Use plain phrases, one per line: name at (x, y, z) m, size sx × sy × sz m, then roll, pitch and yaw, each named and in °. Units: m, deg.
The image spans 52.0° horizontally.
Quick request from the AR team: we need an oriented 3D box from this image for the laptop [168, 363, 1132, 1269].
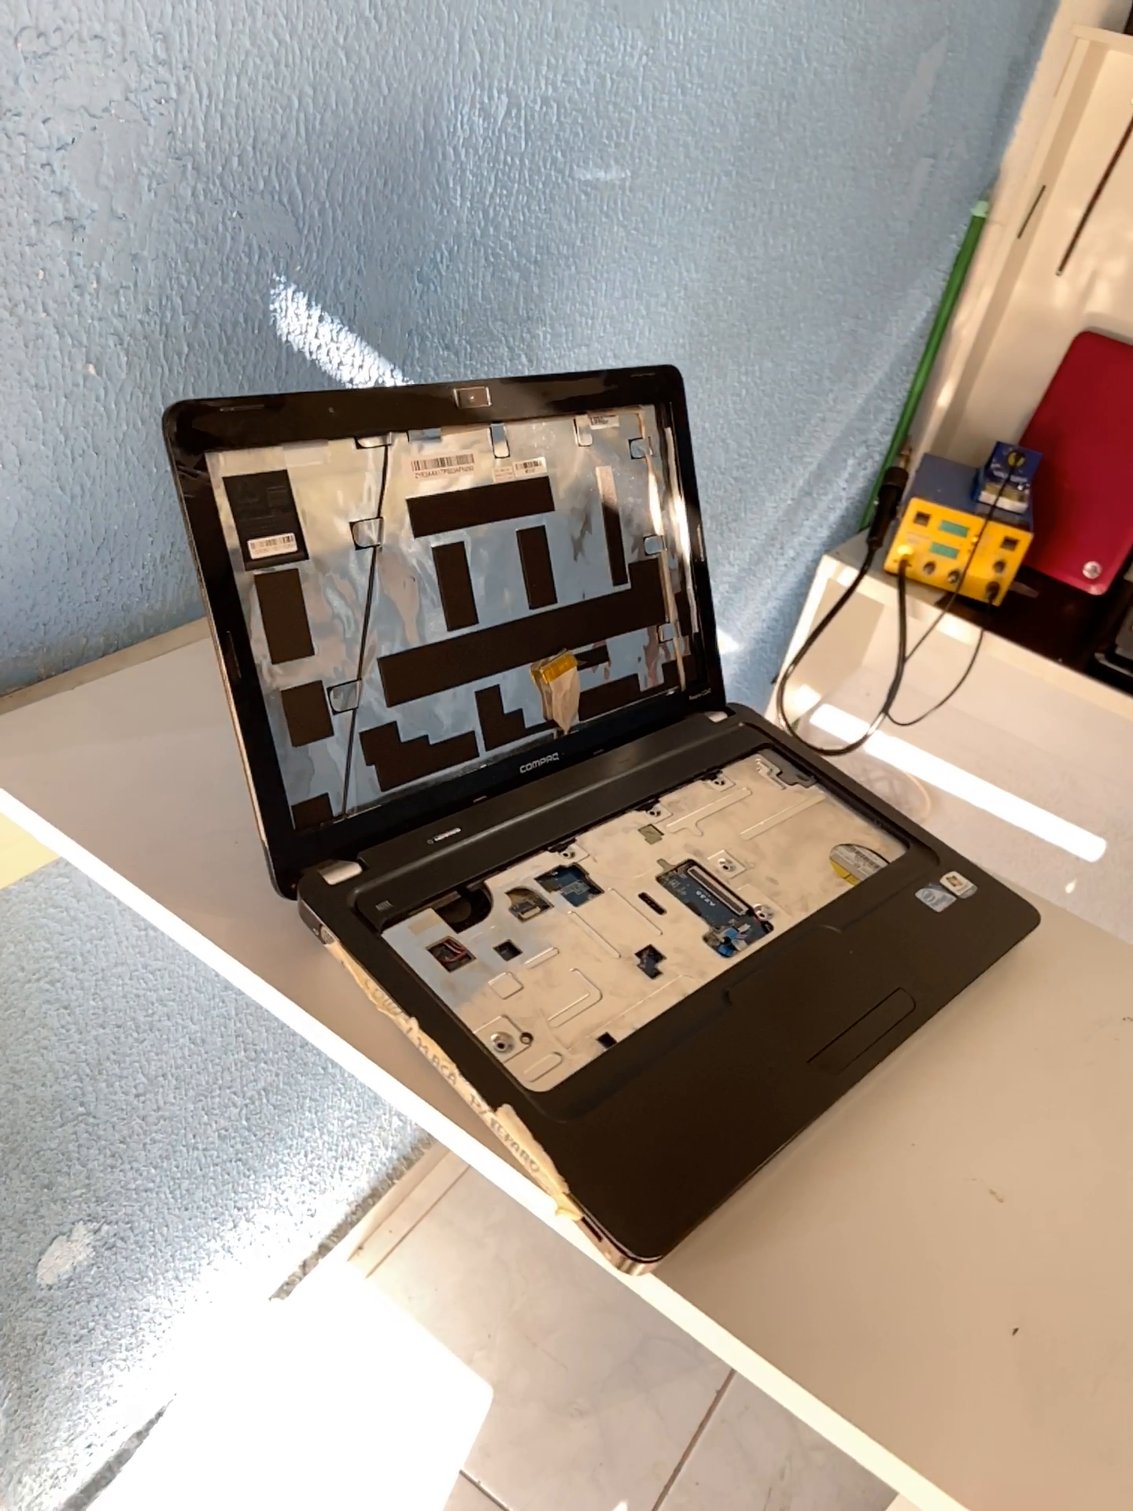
laptop at (0.044, -0.027, 0.564) m, size 0.333 × 0.182 × 0.336 m, roll -22°, pitch 48°, yaw -41°
